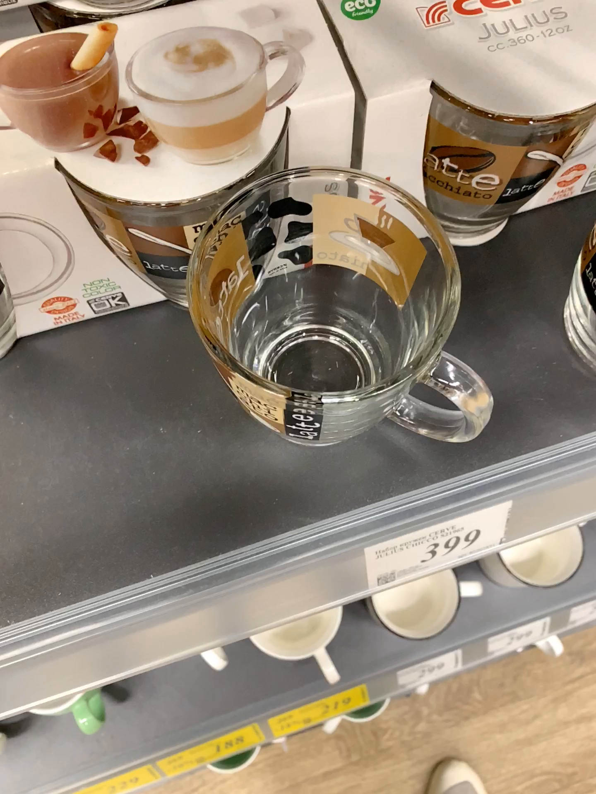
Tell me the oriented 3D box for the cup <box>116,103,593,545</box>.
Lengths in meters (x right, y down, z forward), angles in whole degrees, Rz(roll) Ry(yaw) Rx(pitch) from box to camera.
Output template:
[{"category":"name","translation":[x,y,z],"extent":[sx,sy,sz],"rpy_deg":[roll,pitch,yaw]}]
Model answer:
[{"category":"cup","translation":[0.017,-0.021,0.228],"extent":[0.118,0.086,0.084],"rpy_deg":[36,74,12]}]
